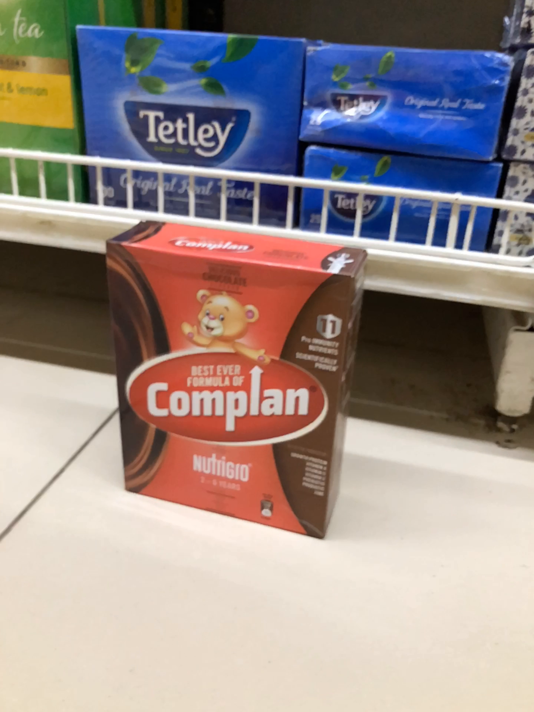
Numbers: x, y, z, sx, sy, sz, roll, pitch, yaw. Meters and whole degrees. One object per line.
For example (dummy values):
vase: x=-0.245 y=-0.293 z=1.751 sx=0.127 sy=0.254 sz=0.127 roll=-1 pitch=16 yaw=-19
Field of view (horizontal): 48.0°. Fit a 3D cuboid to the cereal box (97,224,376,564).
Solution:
cereal box: x=-0.019 y=0.023 z=0.360 sx=0.140 sy=0.179 sz=0.050 roll=10 pitch=28 yaw=14
